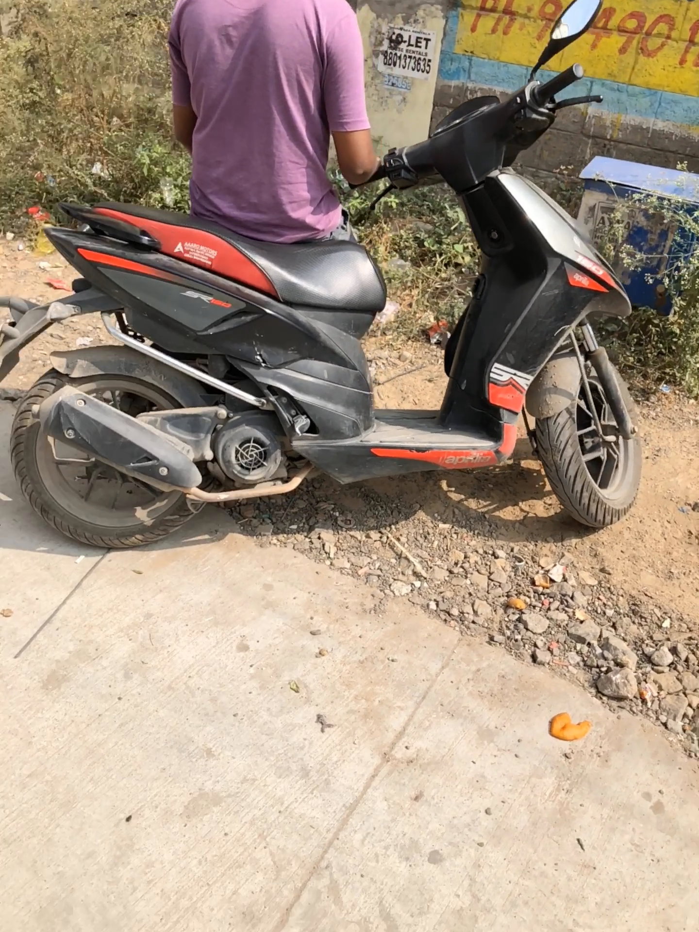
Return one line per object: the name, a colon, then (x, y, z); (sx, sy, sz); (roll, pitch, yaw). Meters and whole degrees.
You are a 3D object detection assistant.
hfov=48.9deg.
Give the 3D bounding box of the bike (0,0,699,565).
bike: (-0.039, -0.590, 2.173); (1.768, 1.199, 0.720); (-8, 36, -17)
